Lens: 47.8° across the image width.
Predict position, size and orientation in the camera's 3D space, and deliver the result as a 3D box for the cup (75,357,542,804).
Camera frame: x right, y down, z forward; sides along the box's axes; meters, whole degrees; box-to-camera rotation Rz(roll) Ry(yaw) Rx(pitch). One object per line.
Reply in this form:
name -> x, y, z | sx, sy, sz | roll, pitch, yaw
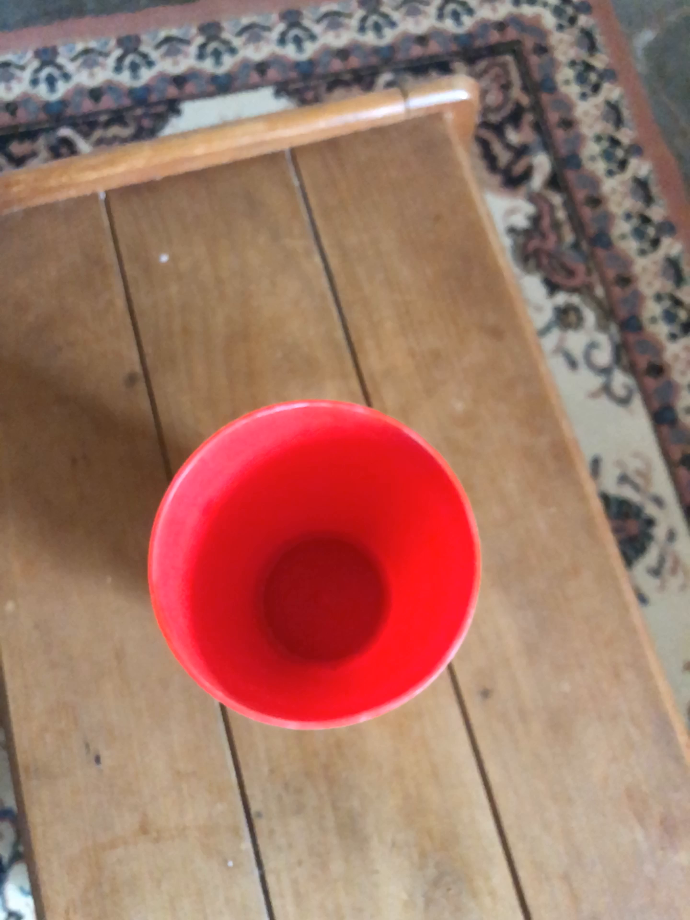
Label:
cup -> -0.013, 0.042, 0.263 | 0.100, 0.120, 0.090 | -18, 76, -6
